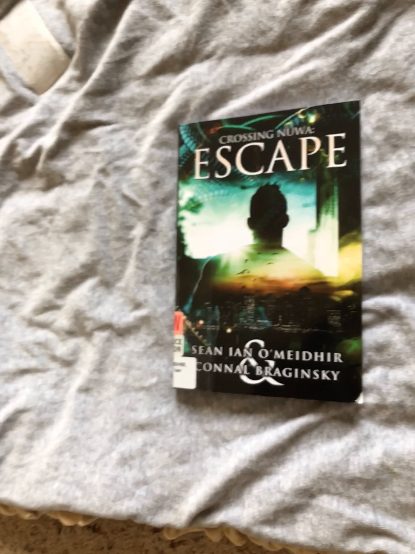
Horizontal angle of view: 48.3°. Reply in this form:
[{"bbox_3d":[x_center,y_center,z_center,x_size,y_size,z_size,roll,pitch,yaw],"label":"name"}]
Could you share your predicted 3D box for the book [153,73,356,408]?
[{"bbox_3d":[0.038,-0.029,0.386,0.160,0.030,0.250,0,86,21],"label":"book"}]
